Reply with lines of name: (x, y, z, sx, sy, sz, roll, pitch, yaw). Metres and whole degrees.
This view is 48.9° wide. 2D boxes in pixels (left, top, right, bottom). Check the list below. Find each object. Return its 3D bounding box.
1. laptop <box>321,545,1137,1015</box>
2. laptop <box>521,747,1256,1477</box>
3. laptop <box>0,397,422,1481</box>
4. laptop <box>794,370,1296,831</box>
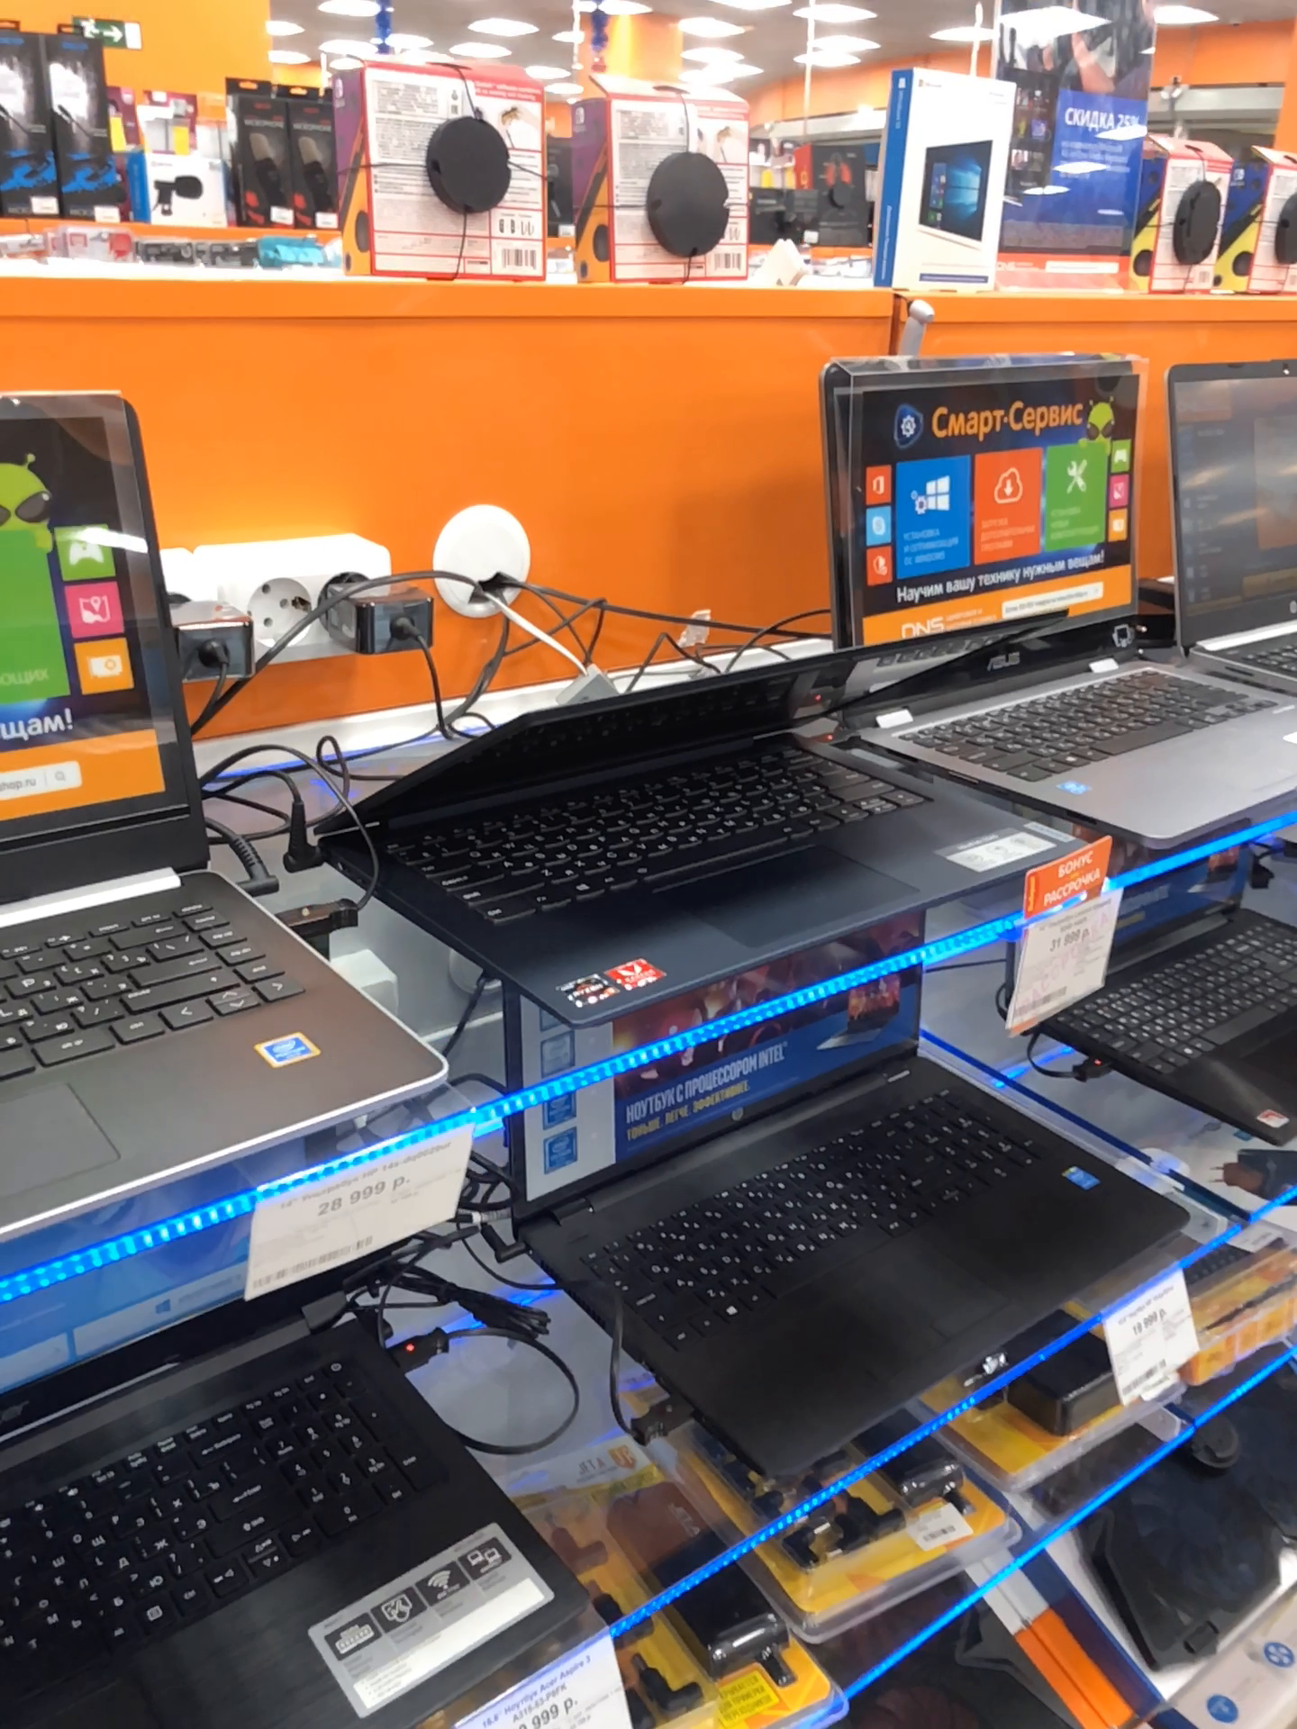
laptop: (0.037, -0.061, 0.664, 0.302, 0.108, 0.203, -16, 29, -33)
laptop: (0.137, 0.113, 0.872, 0.355, 0.227, 0.258, -16, 31, -34)
laptop: (-0.266, -0.030, 0.460, 0.303, 0.200, 0.250, -15, 29, -35)
laptop: (0.306, -0.187, 0.876, 0.331, 0.202, 0.257, -17, 30, -39)
